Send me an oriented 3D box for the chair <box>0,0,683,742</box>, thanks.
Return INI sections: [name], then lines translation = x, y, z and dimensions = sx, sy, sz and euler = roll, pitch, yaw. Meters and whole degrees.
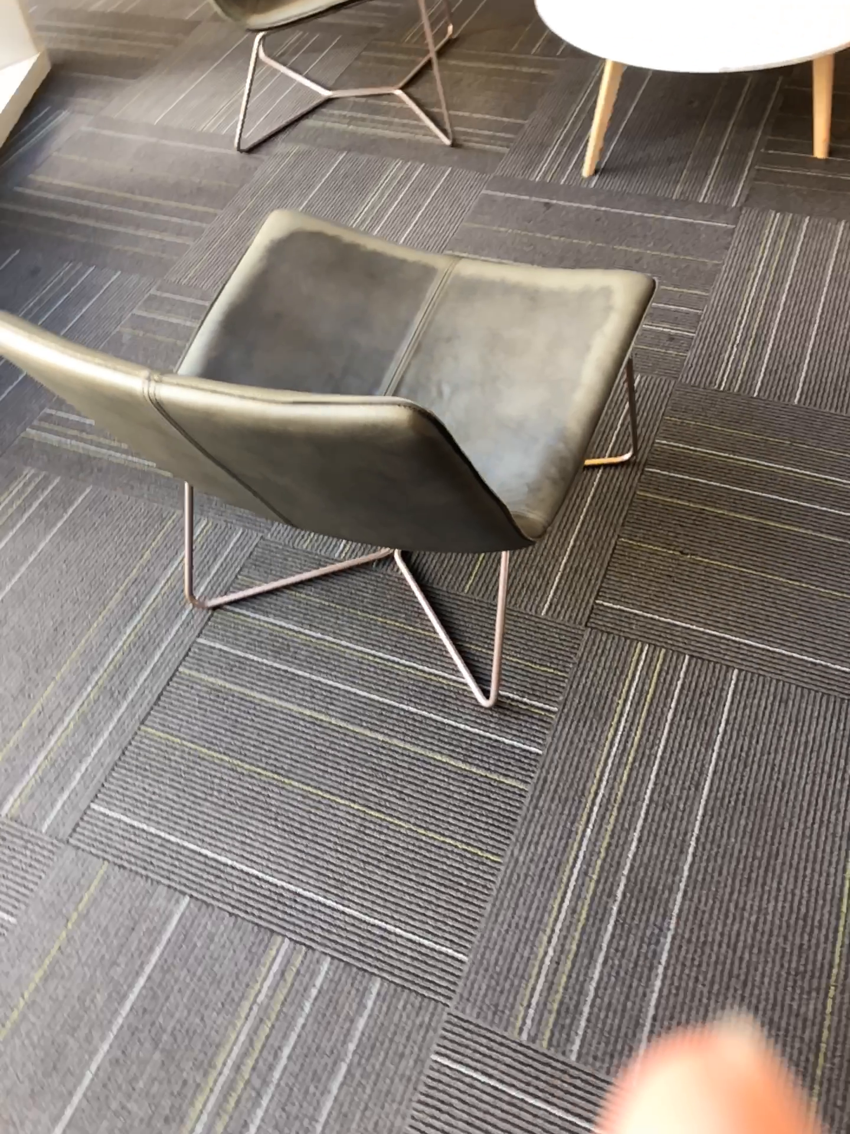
[chair]
translation = -0.086, -0.304, 1.376
dimensions = 0.671, 0.877, 0.651
euler = 17, 62, 18
